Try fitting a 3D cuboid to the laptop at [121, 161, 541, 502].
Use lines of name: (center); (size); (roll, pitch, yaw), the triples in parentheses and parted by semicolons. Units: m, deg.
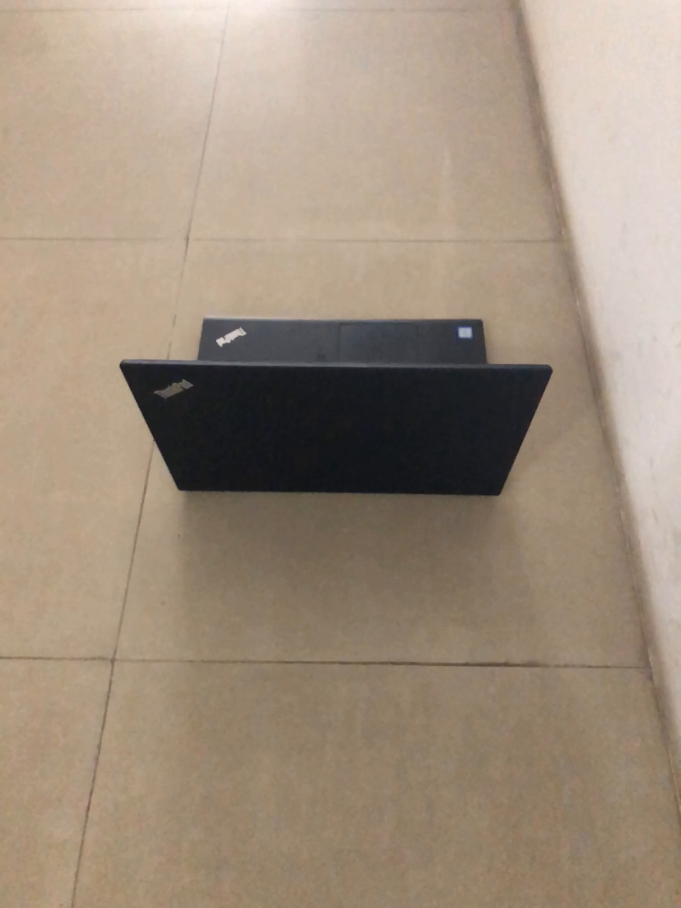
laptop: (-0.002, -0.122, 0.799); (0.353, 0.240, 0.256); (1, 59, 0)
